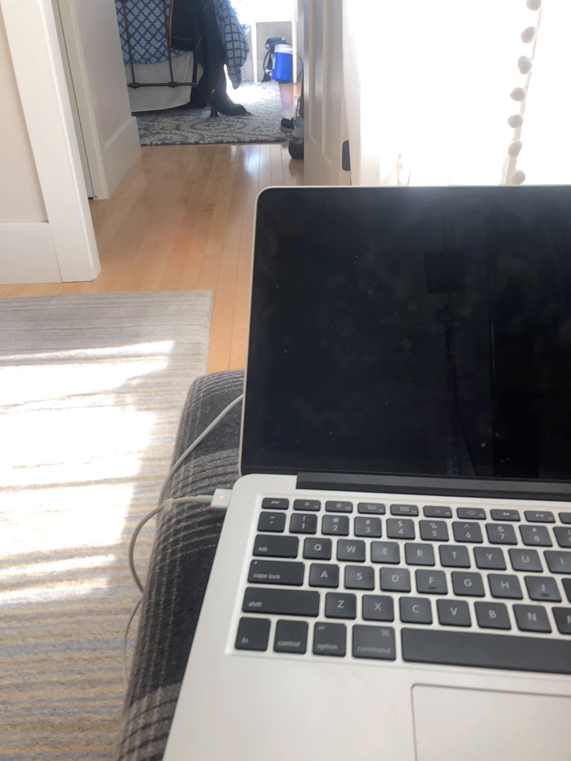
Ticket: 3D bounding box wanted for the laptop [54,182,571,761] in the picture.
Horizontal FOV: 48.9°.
[{"bbox_3d":[0.117,0.020,0.332,0.306,0.142,0.369,1,32,7],"label":"laptop"}]
